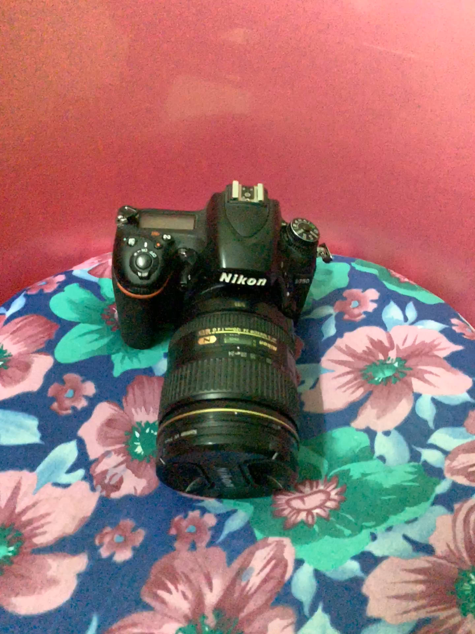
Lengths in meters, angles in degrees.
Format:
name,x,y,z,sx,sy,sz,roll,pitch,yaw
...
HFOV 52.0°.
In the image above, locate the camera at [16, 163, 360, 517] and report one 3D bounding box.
name,x,y,z,sx,sy,sz,roll,pitch,yaw
camera,-0.020,0.008,0.299,0.140,0.111,0.180,3,49,-1
